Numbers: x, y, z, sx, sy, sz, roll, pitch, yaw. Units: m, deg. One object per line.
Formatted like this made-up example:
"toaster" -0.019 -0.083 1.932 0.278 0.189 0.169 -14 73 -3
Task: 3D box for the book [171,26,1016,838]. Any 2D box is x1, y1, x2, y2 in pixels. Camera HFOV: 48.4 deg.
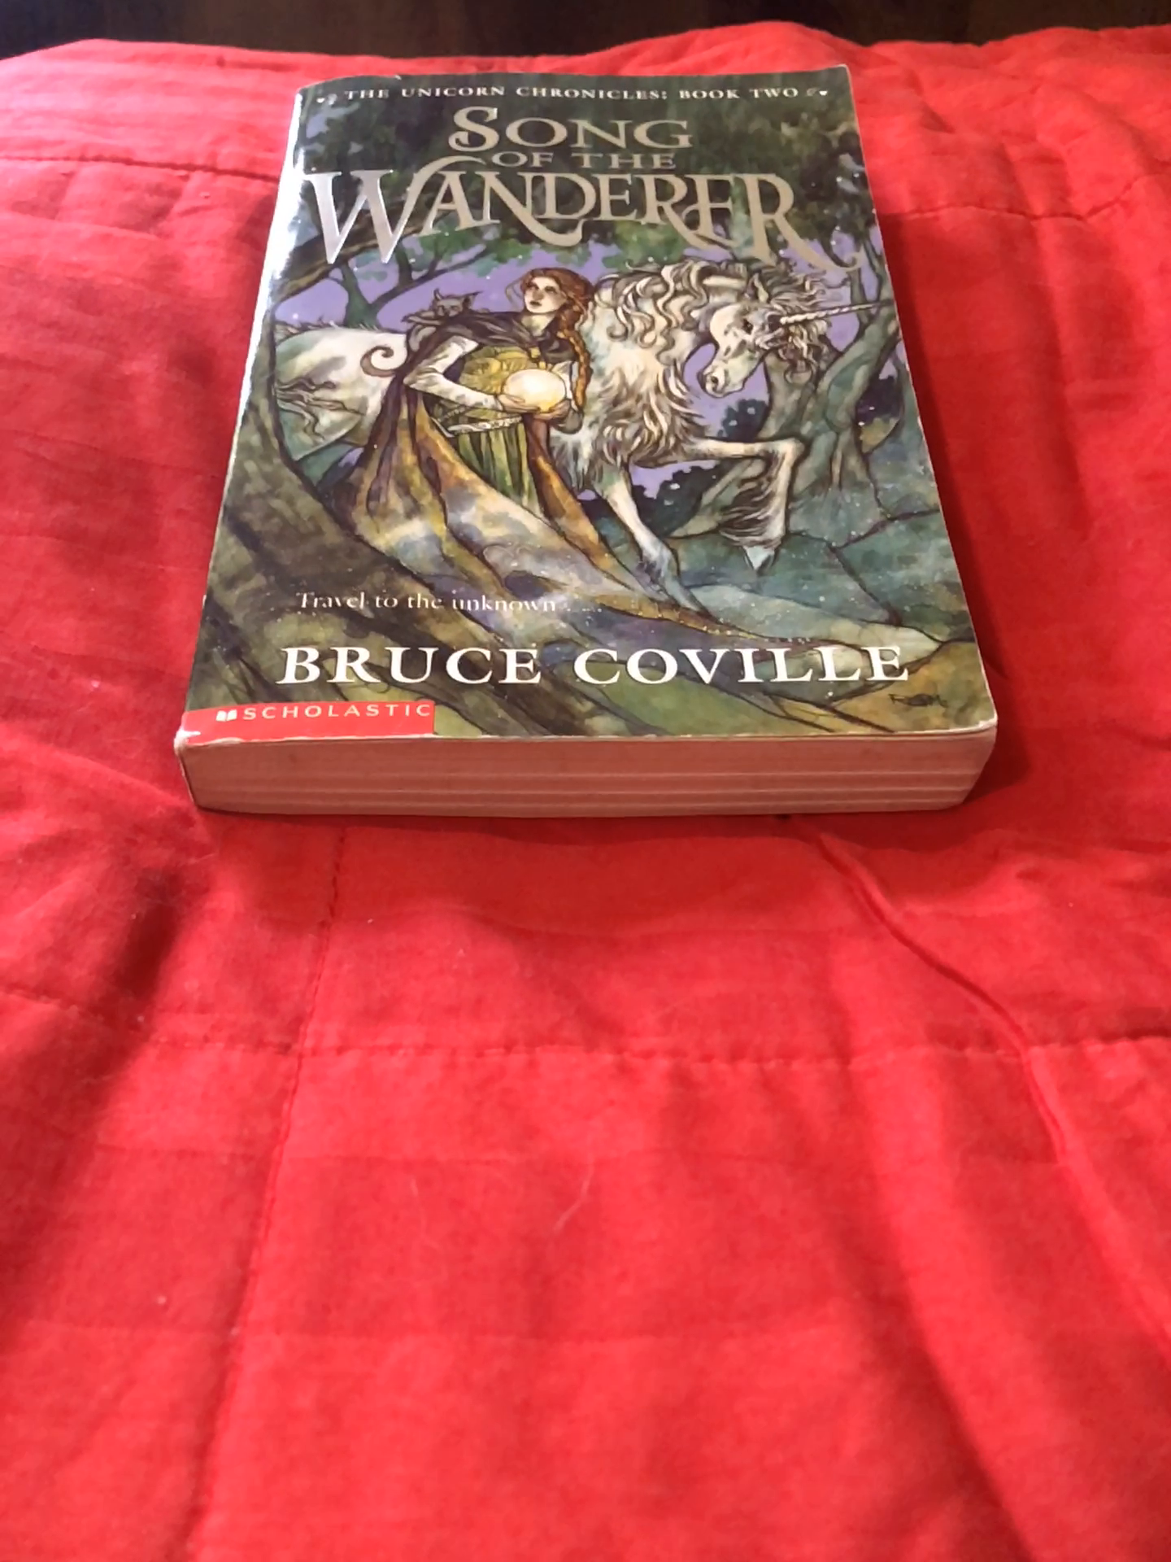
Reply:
"book" 0.000 -0.081 0.262 0.130 0.030 0.191 -1 59 0
